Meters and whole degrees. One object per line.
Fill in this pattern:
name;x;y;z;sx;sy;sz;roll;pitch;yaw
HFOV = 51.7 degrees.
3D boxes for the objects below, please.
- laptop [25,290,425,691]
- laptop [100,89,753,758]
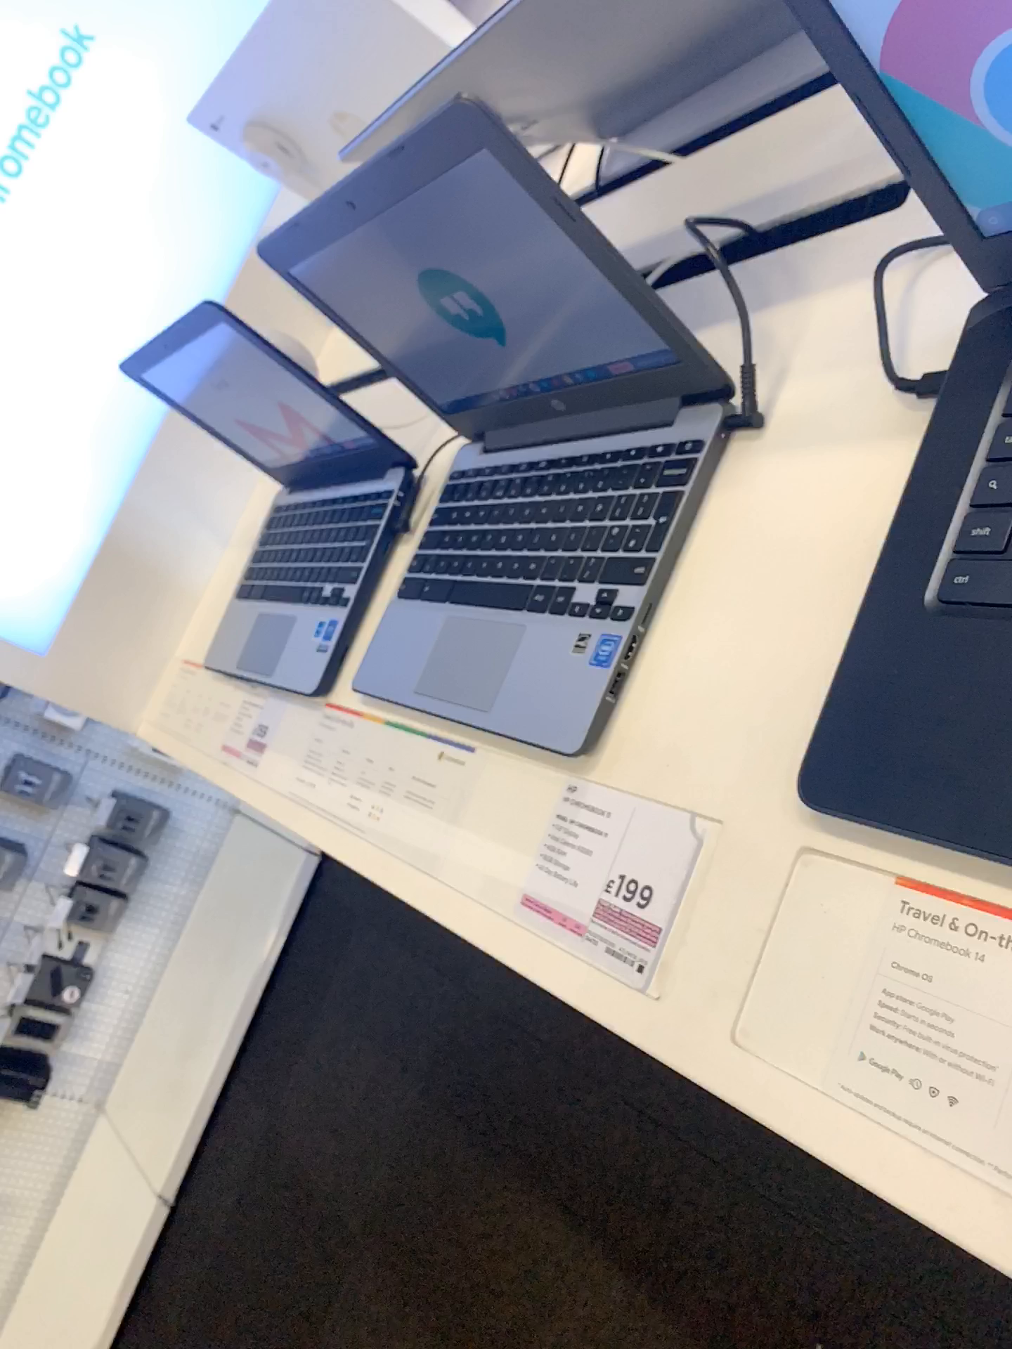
laptop;-0.246;-0.140;0.874;0.288;0.180;0.221;9;75;58
laptop;-0.062;-0.116;0.585;0.279;0.185;0.228;11;75;59
